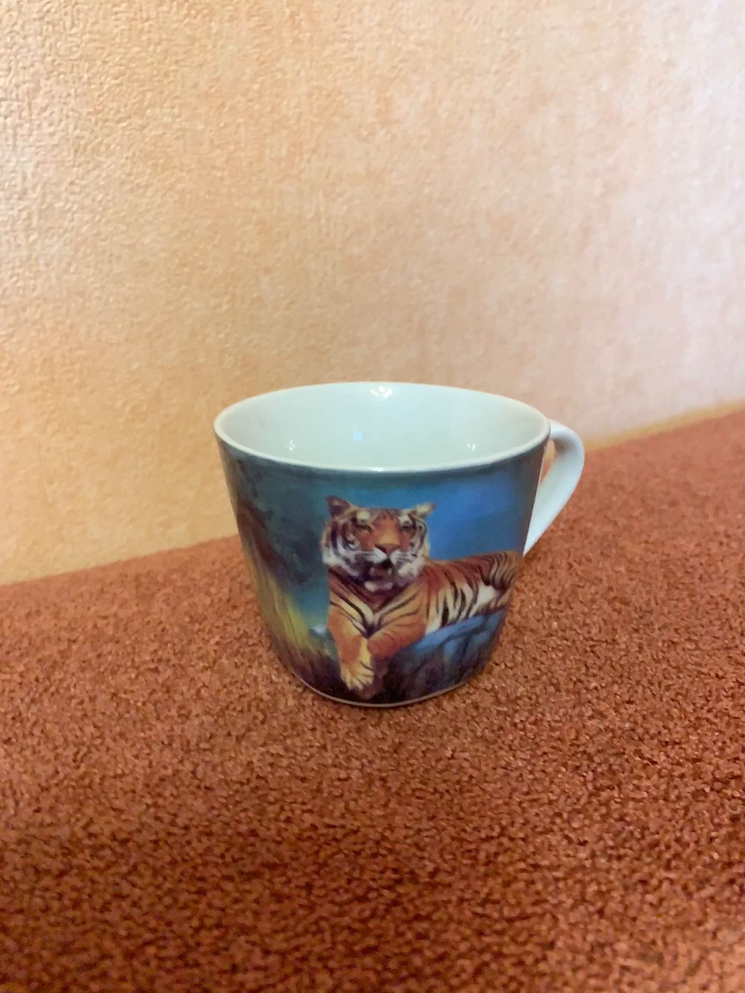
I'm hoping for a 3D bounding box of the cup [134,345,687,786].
[{"bbox_3d":[0.003,0.004,0.162,0.083,0.048,0.072,-12,24,-23],"label":"cup"}]
